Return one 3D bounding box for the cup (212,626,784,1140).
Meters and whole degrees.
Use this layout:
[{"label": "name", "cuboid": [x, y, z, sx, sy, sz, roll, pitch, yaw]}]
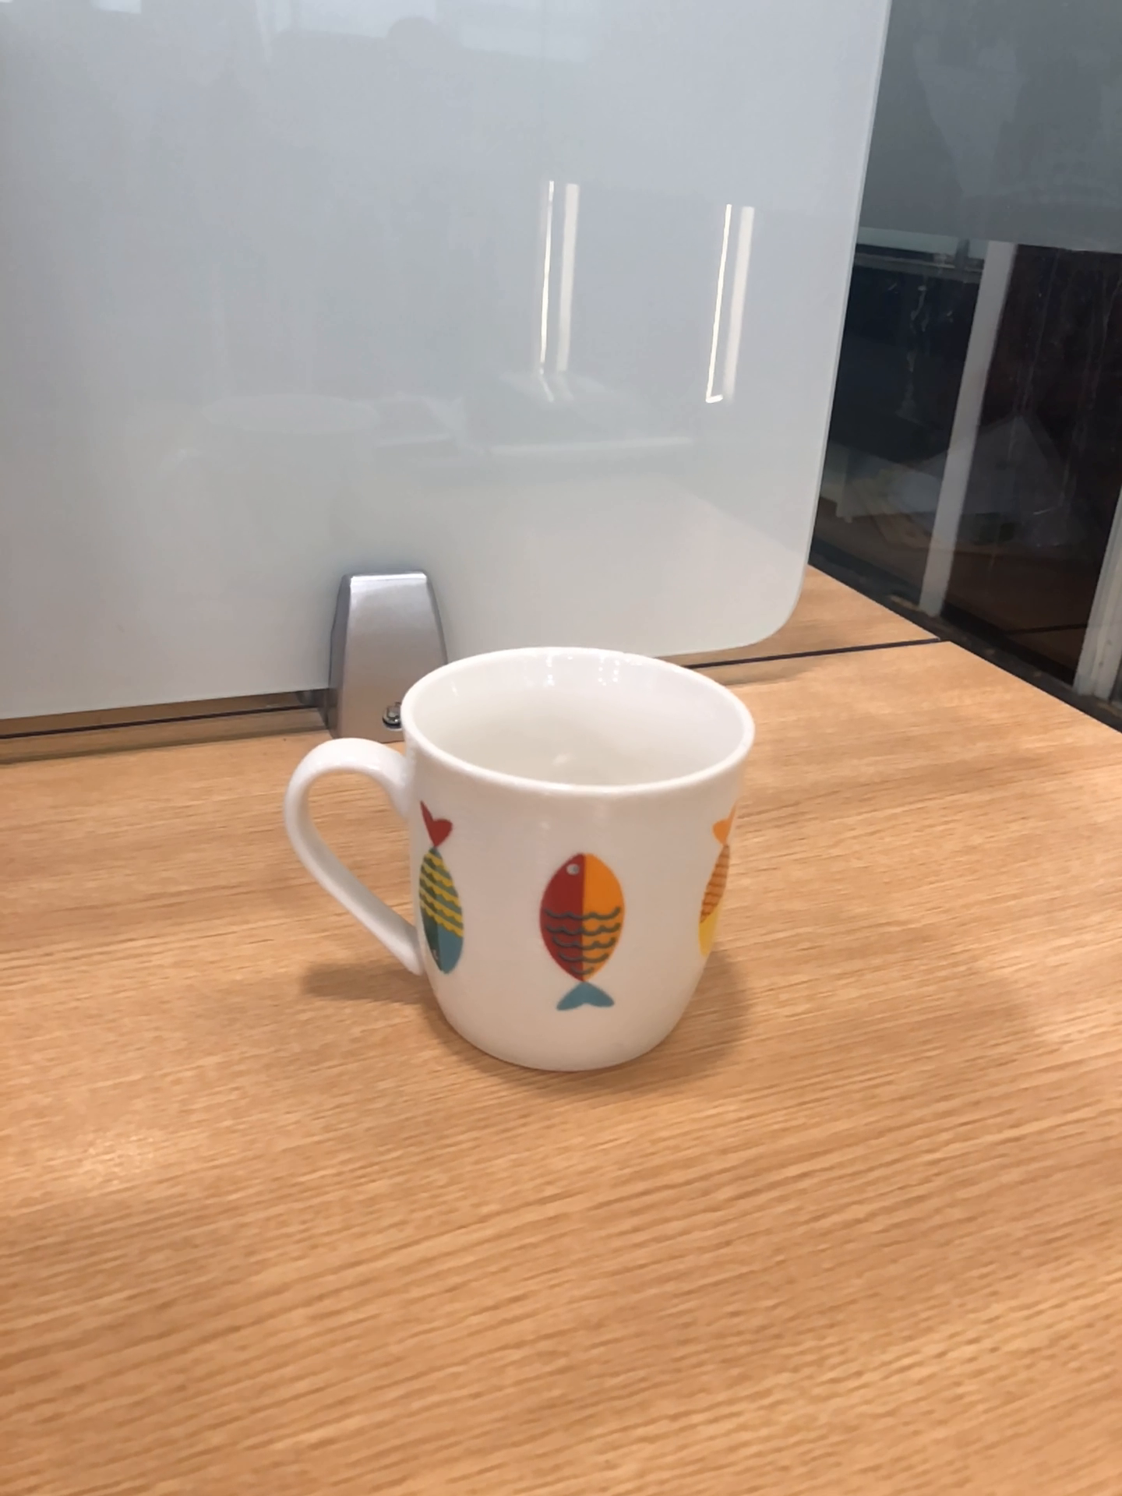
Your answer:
[{"label": "cup", "cuboid": [-0.016, 0.029, 0.294, 0.110, 0.090, 0.080, 2, 25, -5]}]
